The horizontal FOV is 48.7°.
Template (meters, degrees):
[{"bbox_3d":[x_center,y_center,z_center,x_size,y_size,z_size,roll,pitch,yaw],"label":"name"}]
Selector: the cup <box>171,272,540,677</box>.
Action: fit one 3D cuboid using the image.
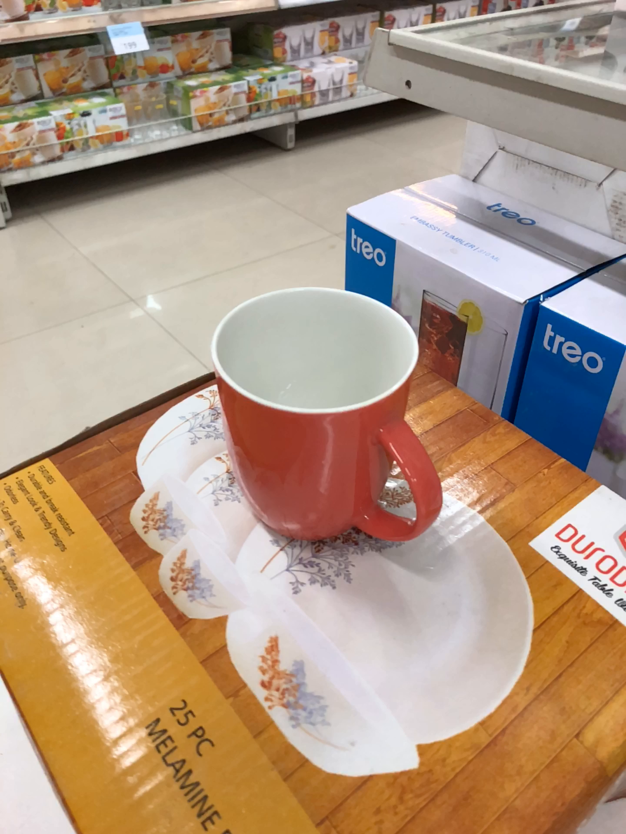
[{"bbox_3d":[0.012,0.017,0.302,0.090,0.099,0.120,-23,44,-26],"label":"cup"}]
